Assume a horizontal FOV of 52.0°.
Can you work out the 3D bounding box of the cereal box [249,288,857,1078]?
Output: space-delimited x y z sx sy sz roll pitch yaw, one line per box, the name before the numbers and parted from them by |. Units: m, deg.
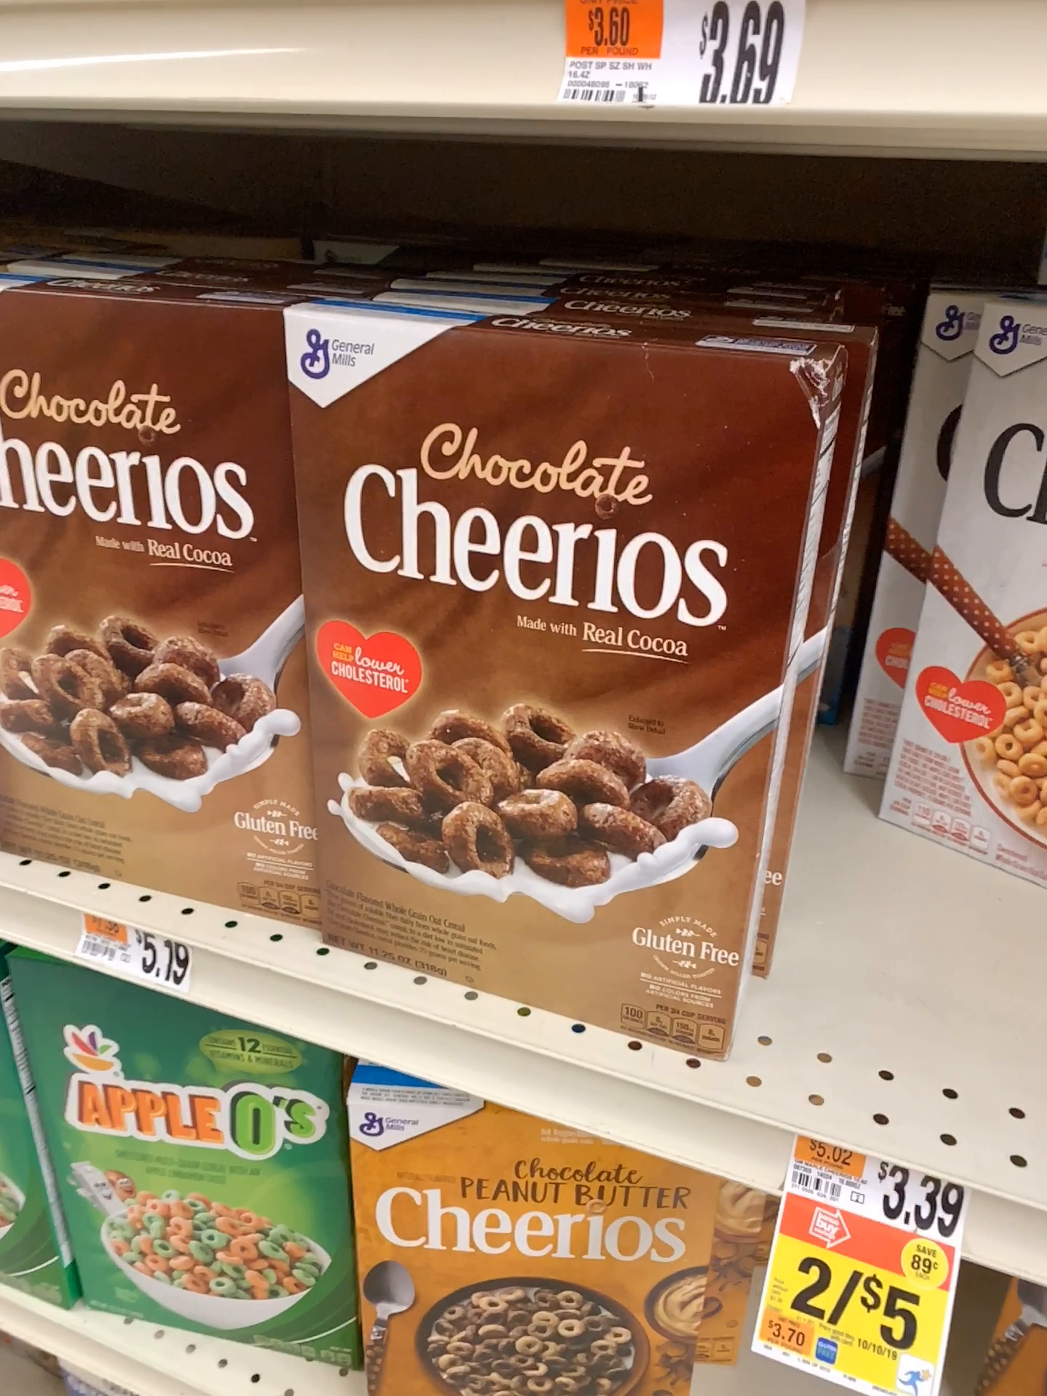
cereal box | 0.004 -0.003 0.452 0.210 0.298 0.060 12 29 19
